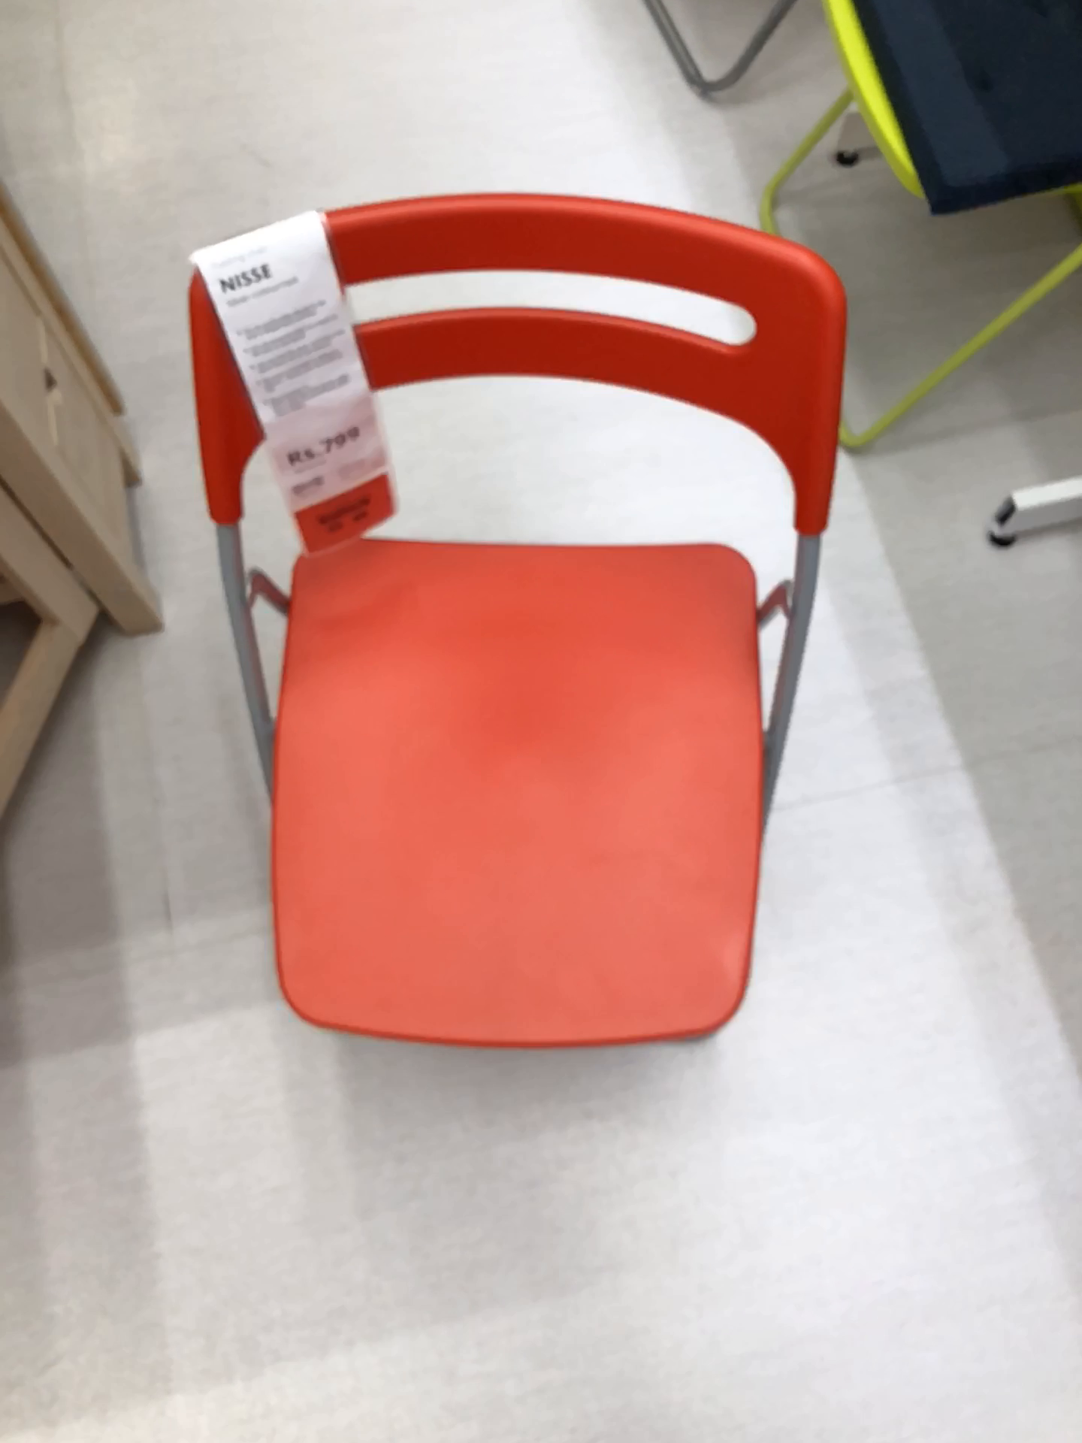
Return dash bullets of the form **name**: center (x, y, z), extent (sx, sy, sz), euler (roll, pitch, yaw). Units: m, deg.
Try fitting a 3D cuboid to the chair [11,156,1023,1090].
- **chair**: center (-0.008, 0.004, 0.906), extent (0.450, 0.608, 0.491), euler (0, 70, 0)
